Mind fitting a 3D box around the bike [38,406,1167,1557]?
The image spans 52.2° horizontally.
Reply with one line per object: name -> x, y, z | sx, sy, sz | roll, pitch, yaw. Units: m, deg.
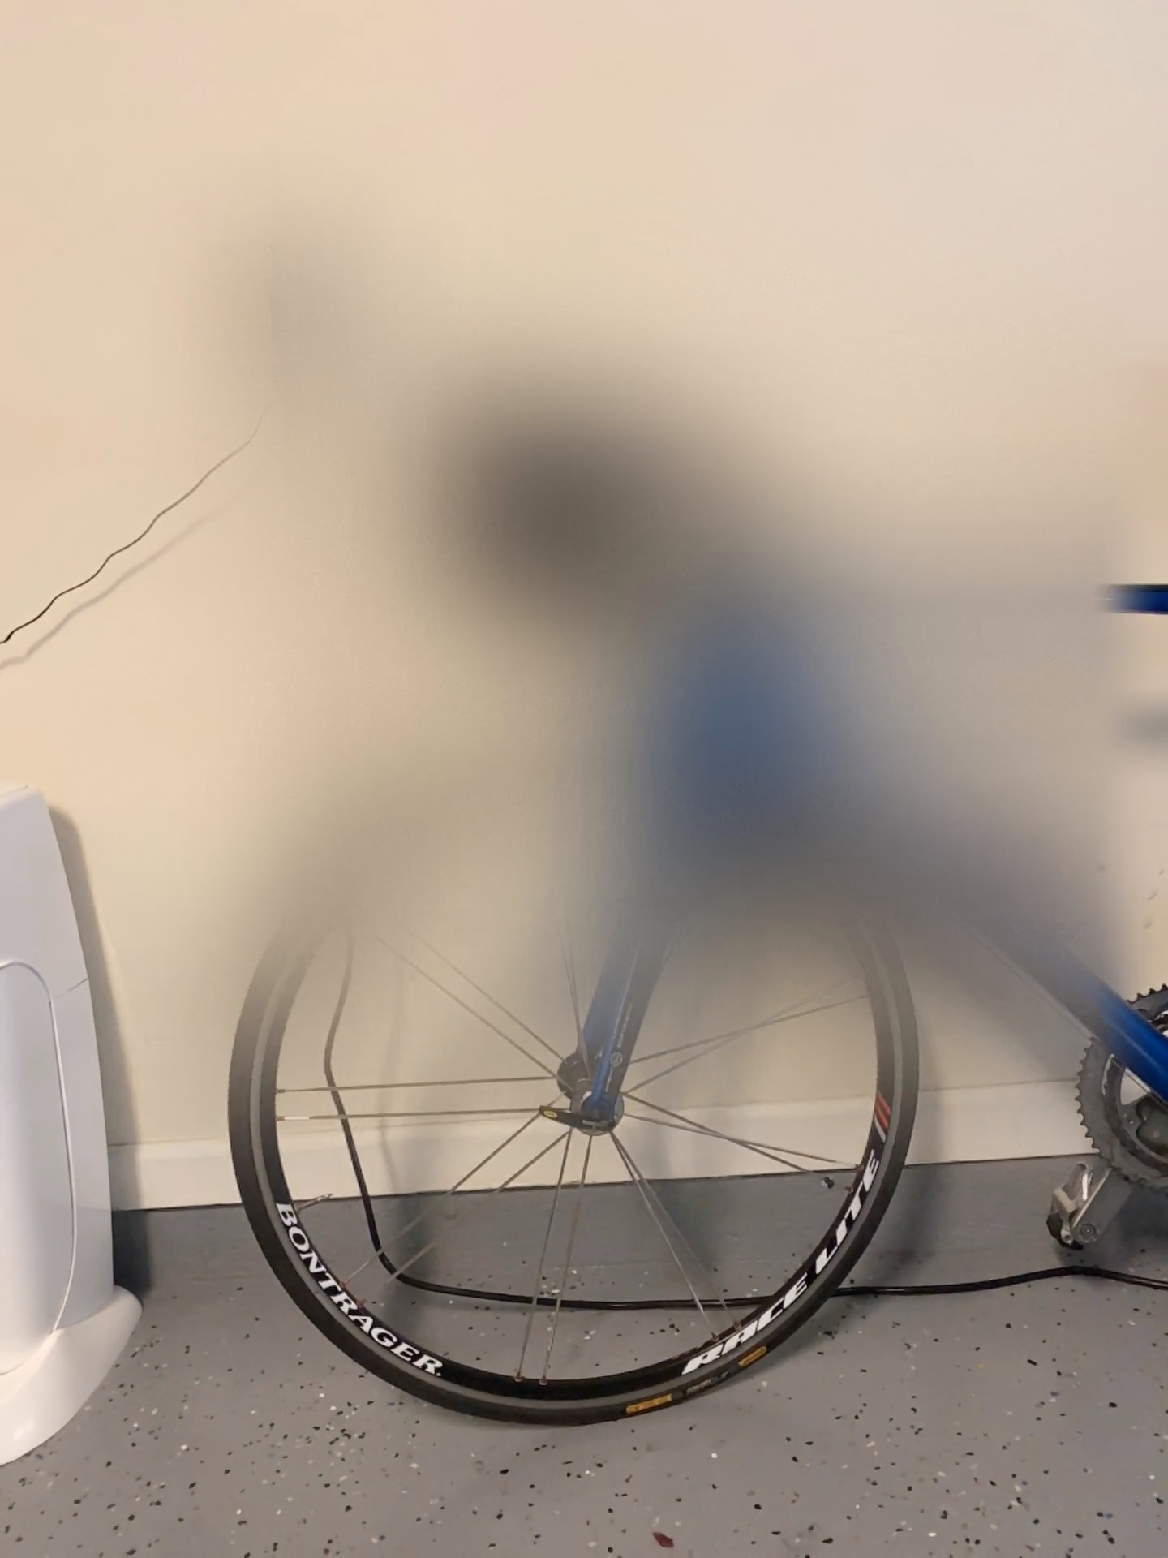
bike -> 0.548, 0.172, 1.014 | 1.638, 0.883, 0.401 | -3, 8, -6
